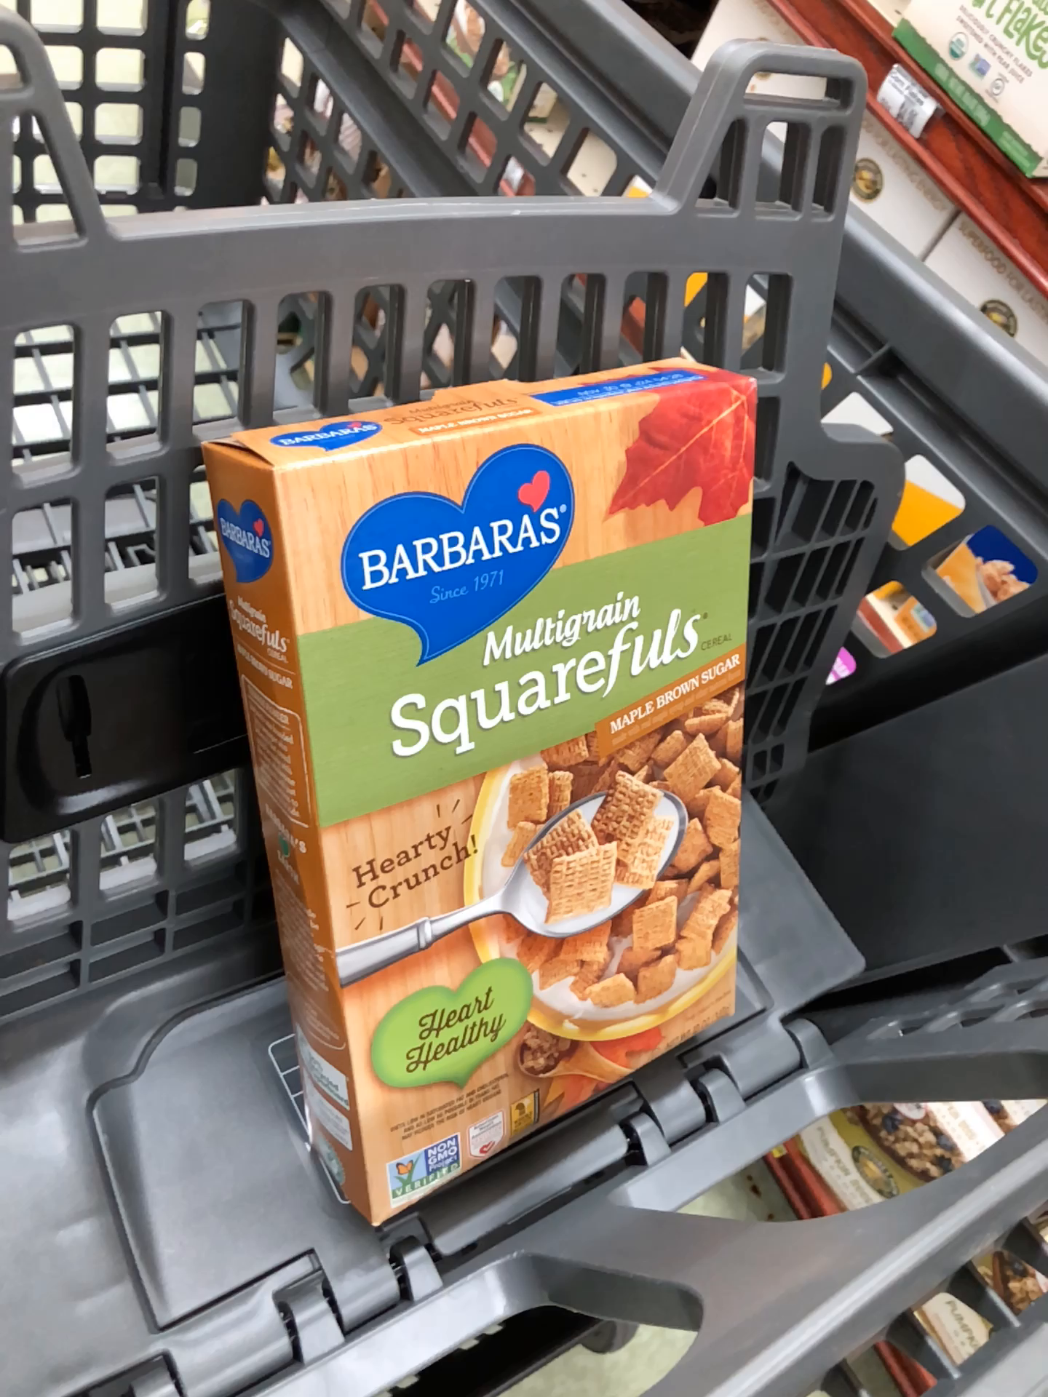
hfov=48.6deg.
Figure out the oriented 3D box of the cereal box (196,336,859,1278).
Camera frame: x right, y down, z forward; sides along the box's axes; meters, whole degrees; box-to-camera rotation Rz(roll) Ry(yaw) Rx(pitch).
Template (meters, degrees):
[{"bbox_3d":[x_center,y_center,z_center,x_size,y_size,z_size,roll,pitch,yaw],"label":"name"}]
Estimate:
[{"bbox_3d":[0.014,0.028,0.383,0.190,0.260,0.060,-18,28,-32],"label":"cereal box"}]
